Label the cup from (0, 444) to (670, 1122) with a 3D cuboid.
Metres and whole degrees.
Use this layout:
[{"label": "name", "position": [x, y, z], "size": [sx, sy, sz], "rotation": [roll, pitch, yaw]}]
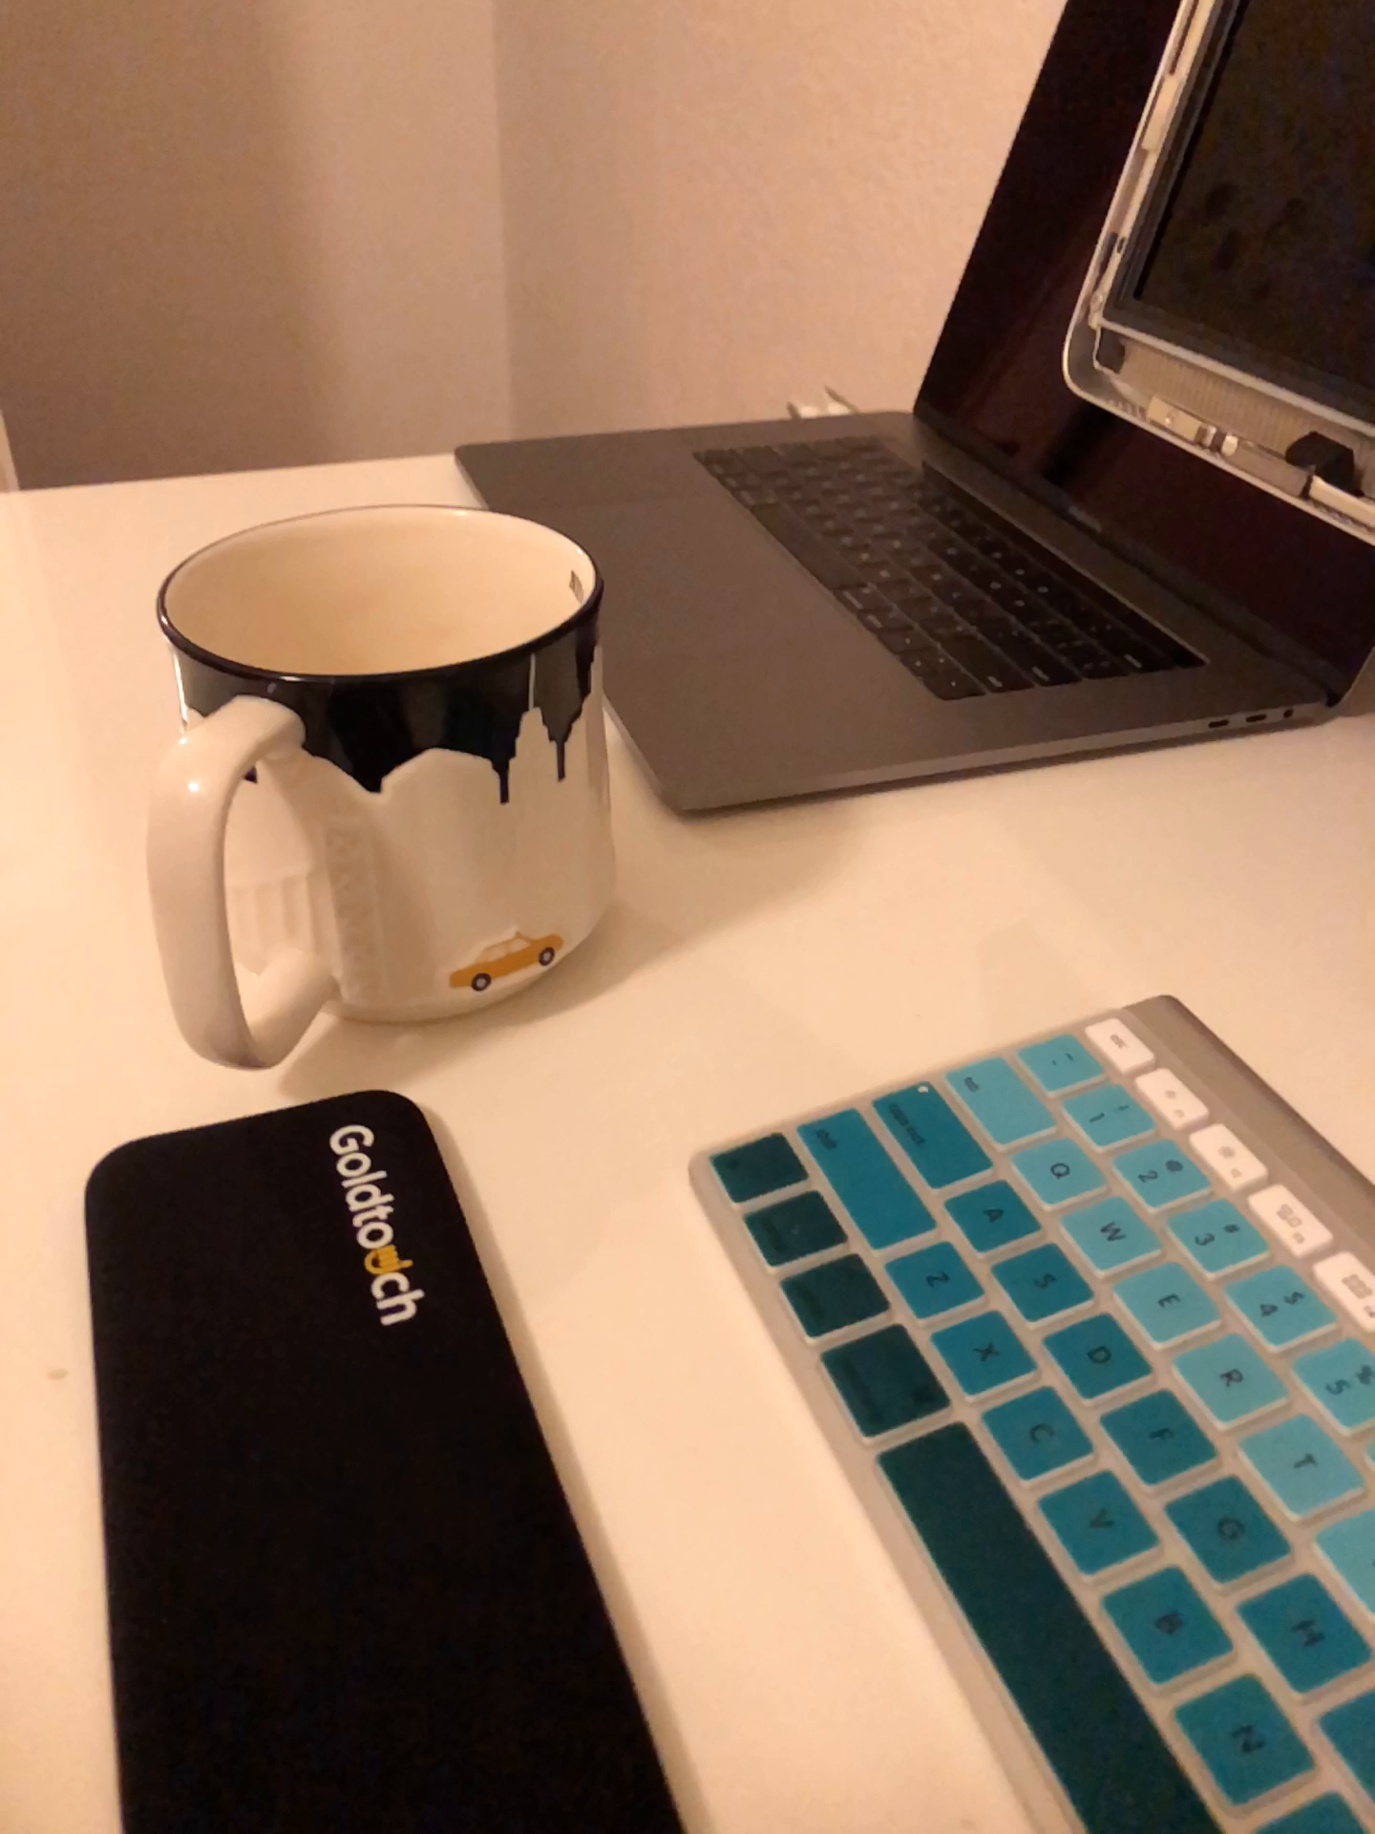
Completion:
[{"label": "cup", "position": [-0.073, -0.042, 0.364], "size": [0.110, 0.089, 0.151], "rotation": [7, 35, 8]}]
